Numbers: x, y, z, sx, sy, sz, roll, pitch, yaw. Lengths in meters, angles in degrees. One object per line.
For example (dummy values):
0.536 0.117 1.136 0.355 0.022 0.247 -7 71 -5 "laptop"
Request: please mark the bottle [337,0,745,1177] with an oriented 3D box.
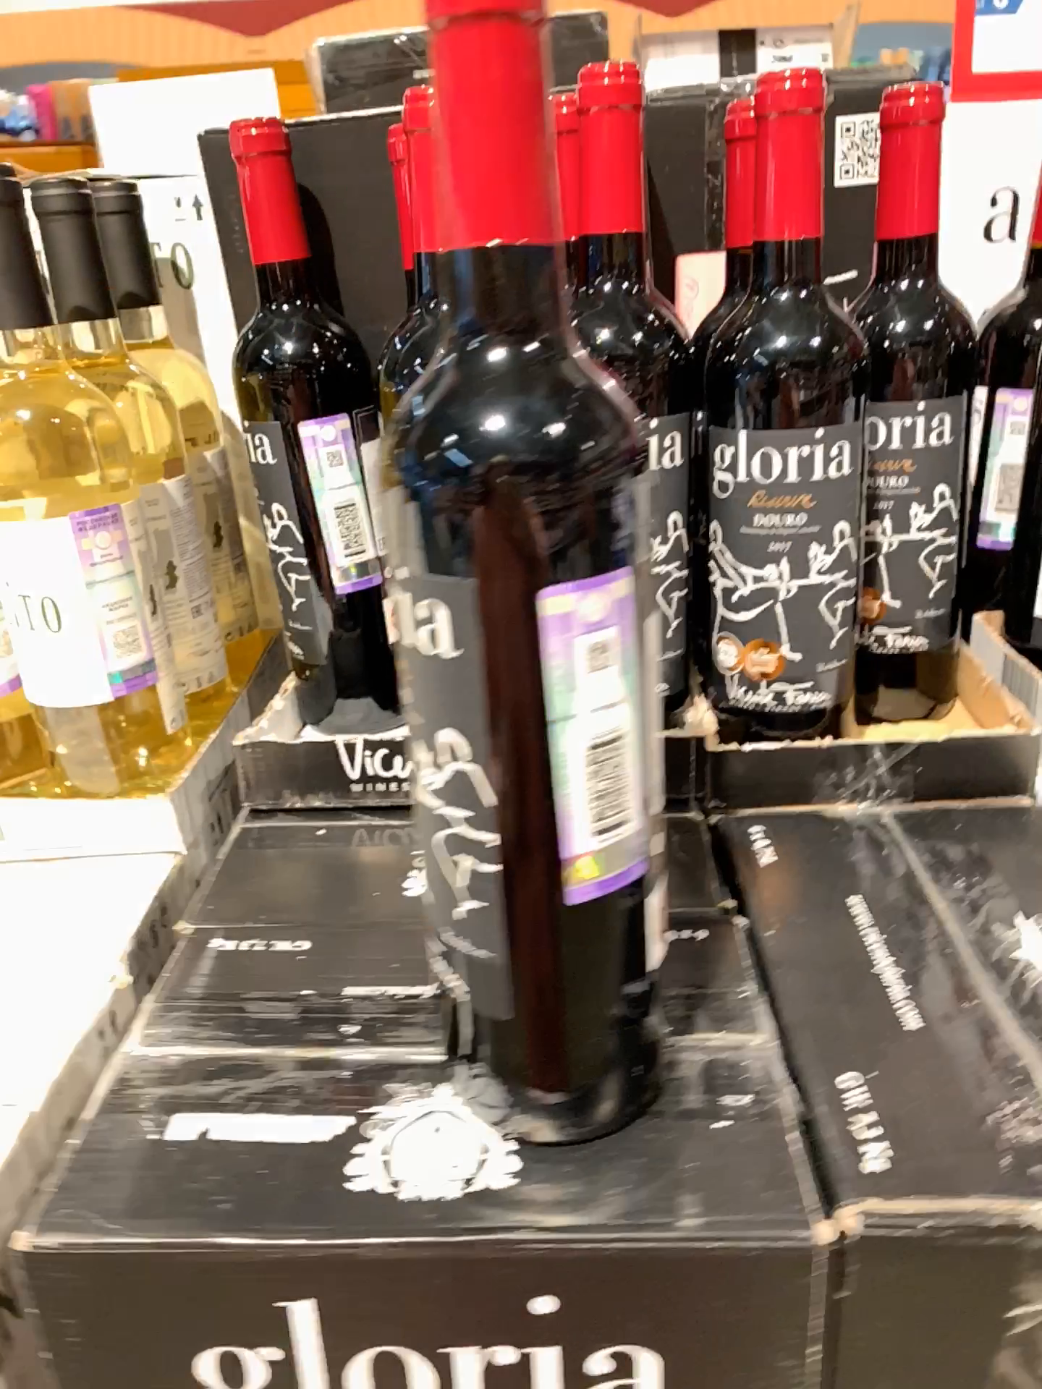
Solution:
0.004 -0.021 0.312 0.080 0.318 0.090 -6 23 -8 "bottle"
